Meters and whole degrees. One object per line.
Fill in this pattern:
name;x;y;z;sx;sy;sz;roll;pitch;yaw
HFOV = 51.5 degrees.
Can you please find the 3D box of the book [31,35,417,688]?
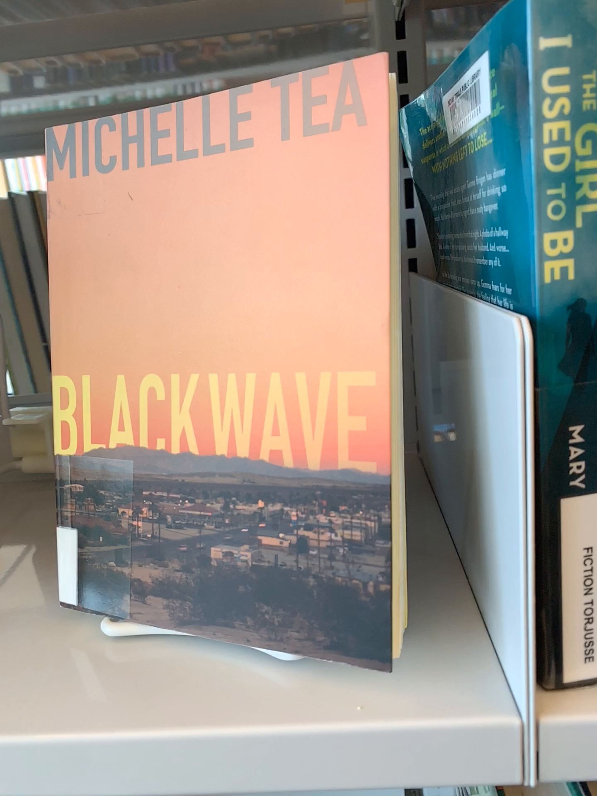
book;-0.032;-0.011;0.238;0.147;0.201;0.036;1;3;25
